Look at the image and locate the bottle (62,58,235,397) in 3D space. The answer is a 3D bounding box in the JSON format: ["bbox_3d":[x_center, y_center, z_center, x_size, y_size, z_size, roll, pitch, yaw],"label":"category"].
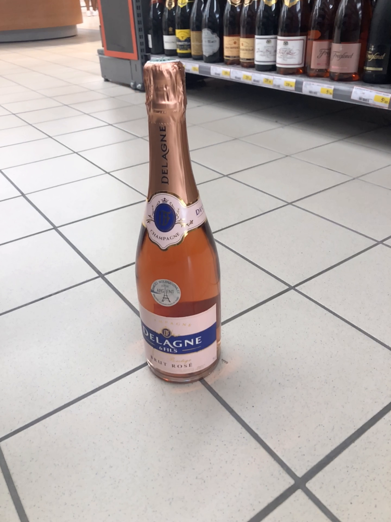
[{"bbox_3d":[-0.025,-0.022,0.395,0.100,0.288,0.091,9,33,19],"label":"bottle"}]
